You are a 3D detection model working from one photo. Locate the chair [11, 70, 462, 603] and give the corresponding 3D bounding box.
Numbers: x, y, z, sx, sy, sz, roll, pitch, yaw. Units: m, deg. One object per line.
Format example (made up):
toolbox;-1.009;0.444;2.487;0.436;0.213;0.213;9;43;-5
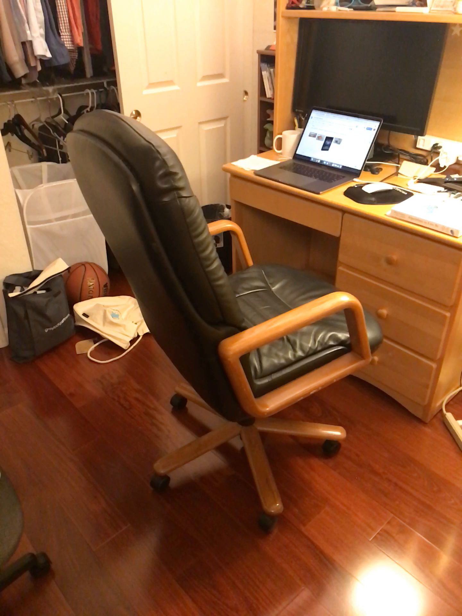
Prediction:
chair;-0.033;-0.041;1.578;0.853;1.141;0.995;-17;36;-25
